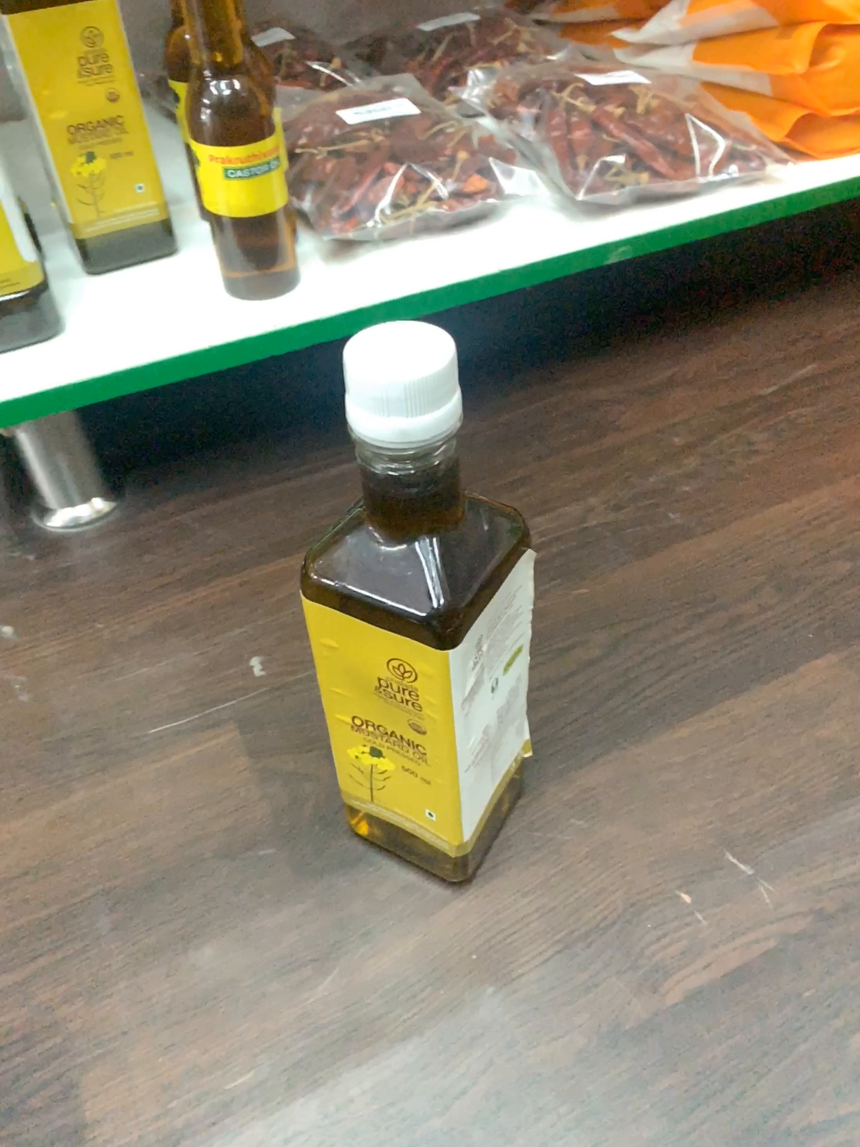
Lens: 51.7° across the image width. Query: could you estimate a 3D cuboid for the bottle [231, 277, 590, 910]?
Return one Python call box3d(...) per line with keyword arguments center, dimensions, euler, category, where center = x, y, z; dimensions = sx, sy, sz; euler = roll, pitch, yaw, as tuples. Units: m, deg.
box3d(center=(0.001, 0.020, 0.294), dimensions=(0.070, 0.209, 0.060), euler=(19, 47, 23), category="bottle")
